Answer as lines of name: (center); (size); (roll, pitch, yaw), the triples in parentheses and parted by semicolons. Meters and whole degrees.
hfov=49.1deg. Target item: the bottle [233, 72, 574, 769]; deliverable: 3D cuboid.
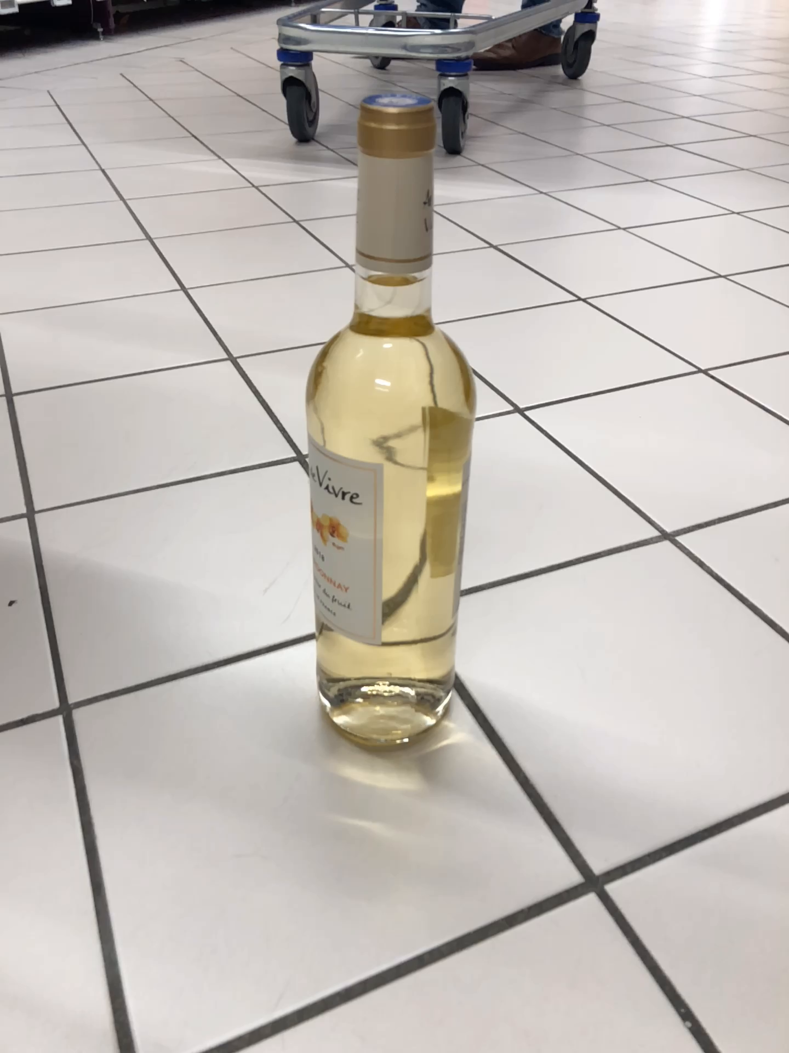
bottle: (-0.001, -0.035, 0.390); (0.090, 0.288, 0.090); (0, 35, 0)
